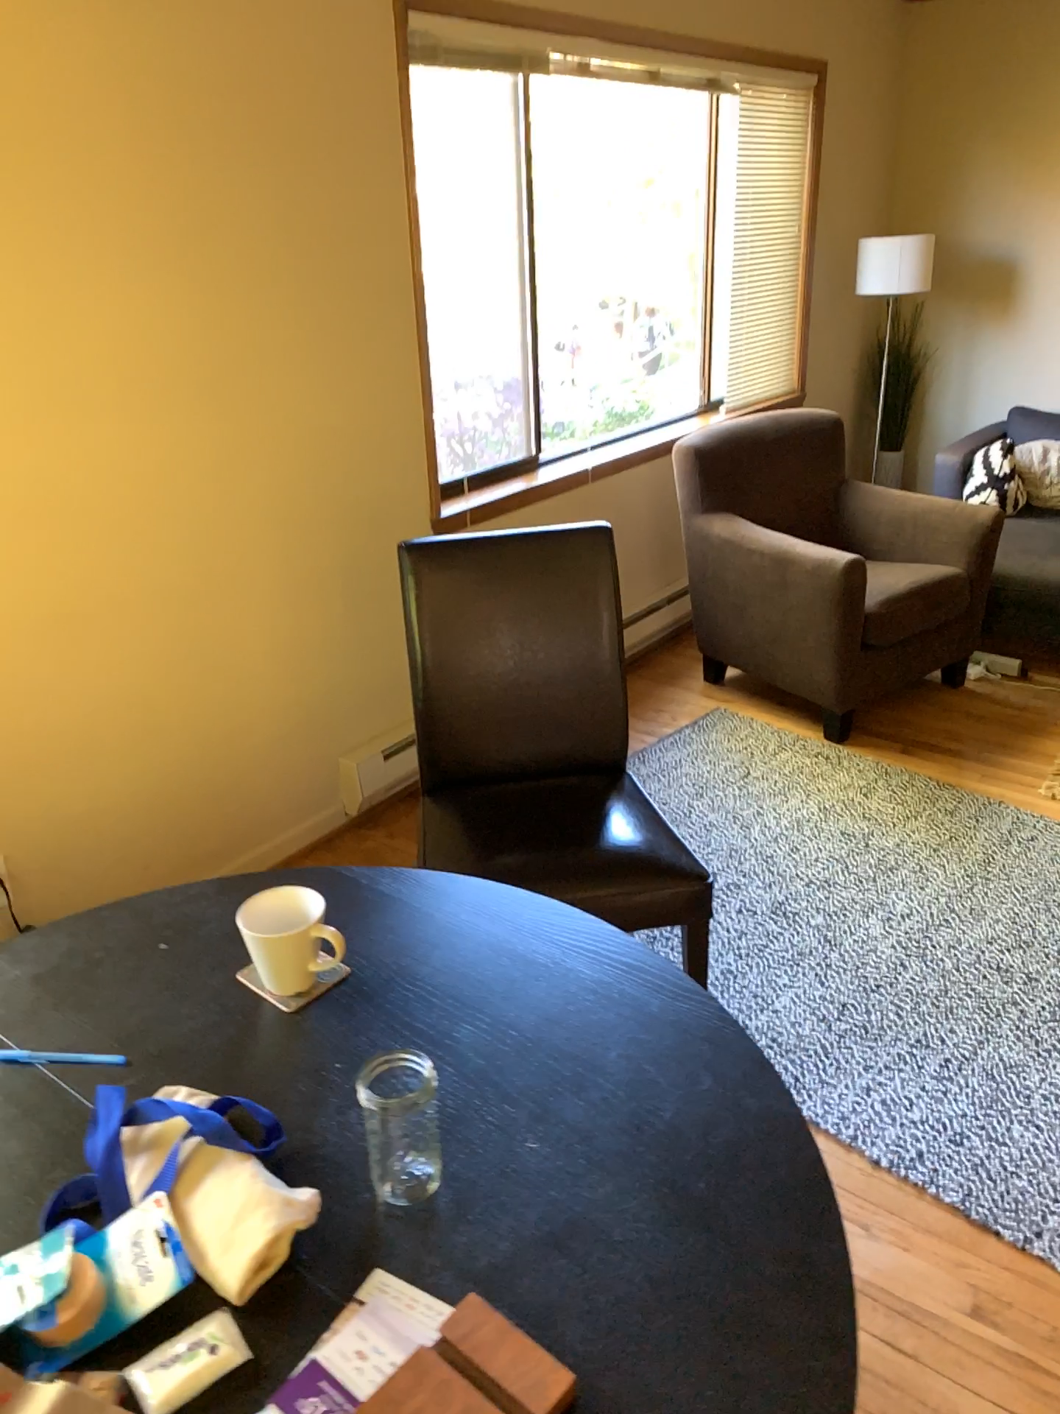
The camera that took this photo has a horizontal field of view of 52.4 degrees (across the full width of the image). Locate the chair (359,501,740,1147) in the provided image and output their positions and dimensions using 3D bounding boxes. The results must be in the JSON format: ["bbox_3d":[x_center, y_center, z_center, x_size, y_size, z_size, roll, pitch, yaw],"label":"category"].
[{"bbox_3d":[0.009,0.195,2.188,0.560,1.034,0.674,-7,24,-10],"label":"chair"}]
